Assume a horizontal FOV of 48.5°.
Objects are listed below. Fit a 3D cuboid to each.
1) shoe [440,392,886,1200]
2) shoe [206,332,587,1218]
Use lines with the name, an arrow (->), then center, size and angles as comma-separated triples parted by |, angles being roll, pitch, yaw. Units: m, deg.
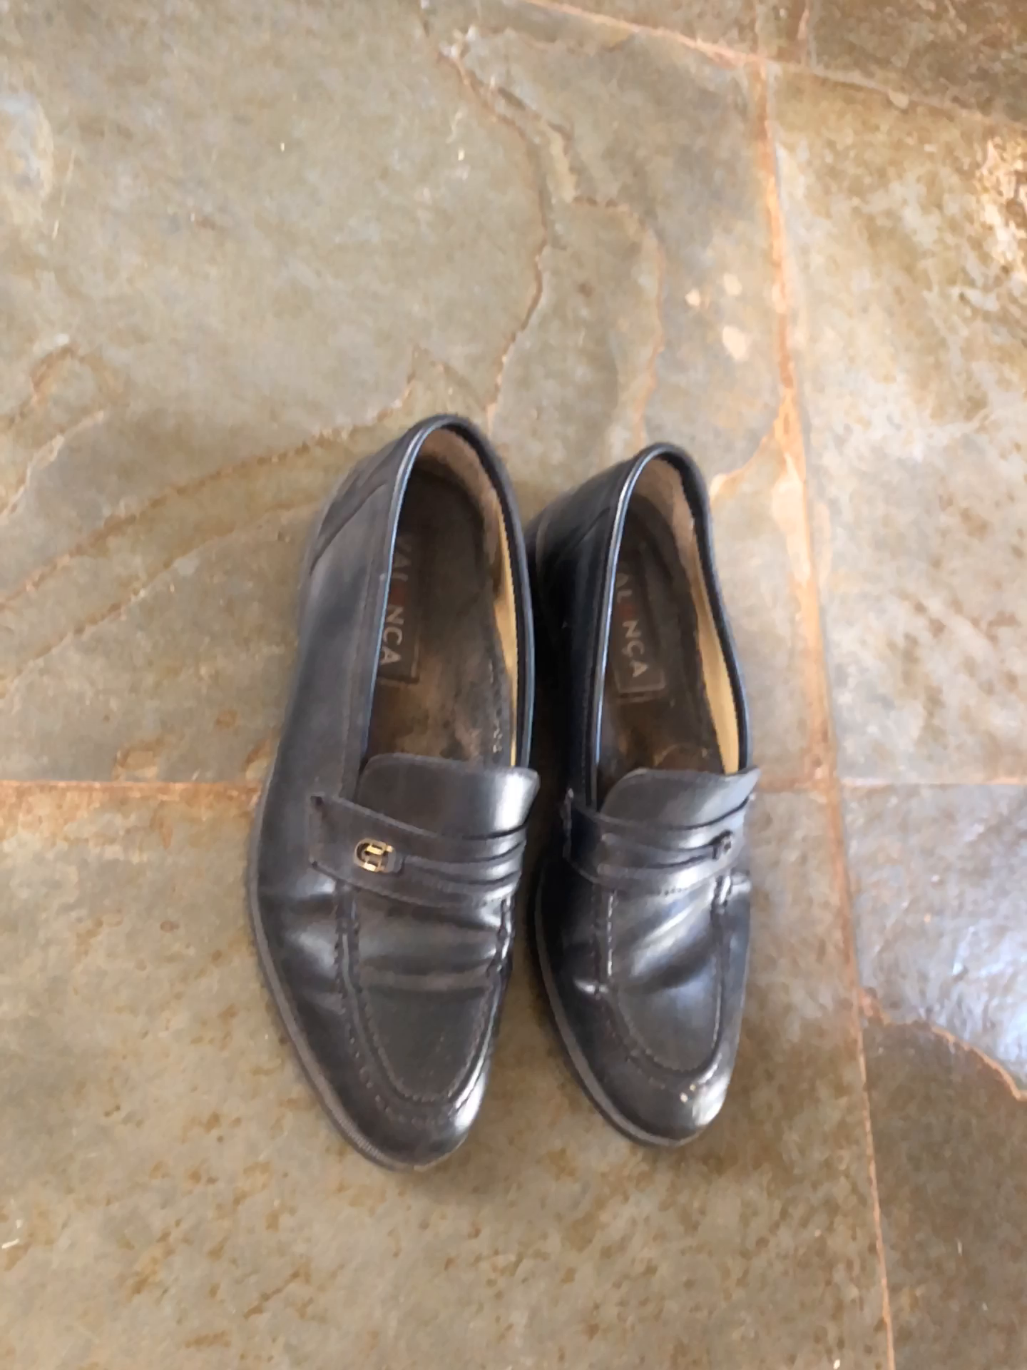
shoe -> 0.046, 0.036, 0.429 | 0.100, 0.100, 0.260 | -1, 78, -21
shoe -> -0.047, 0.028, 0.395 | 0.100, 0.100, 0.260 | 3, 76, -20
